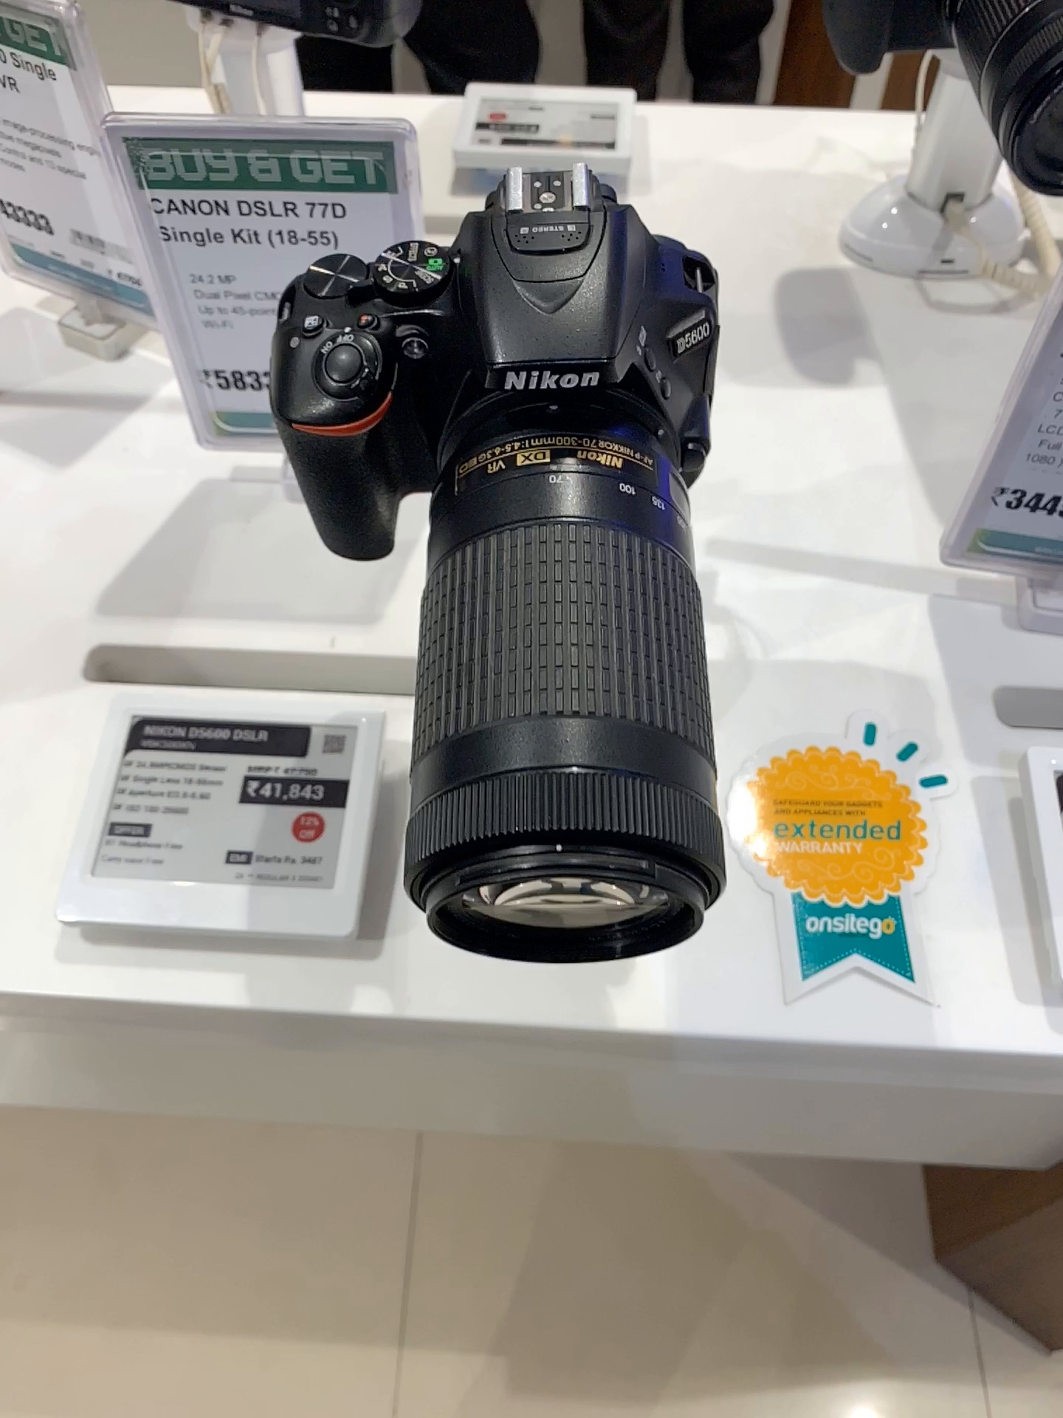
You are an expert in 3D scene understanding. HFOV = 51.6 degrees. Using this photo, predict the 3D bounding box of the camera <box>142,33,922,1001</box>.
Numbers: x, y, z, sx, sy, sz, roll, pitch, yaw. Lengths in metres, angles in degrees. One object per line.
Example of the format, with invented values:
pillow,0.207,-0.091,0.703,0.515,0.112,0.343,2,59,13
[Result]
camera,0.000,-0.072,0.296,0.130,0.080,0.281,0,55,0
